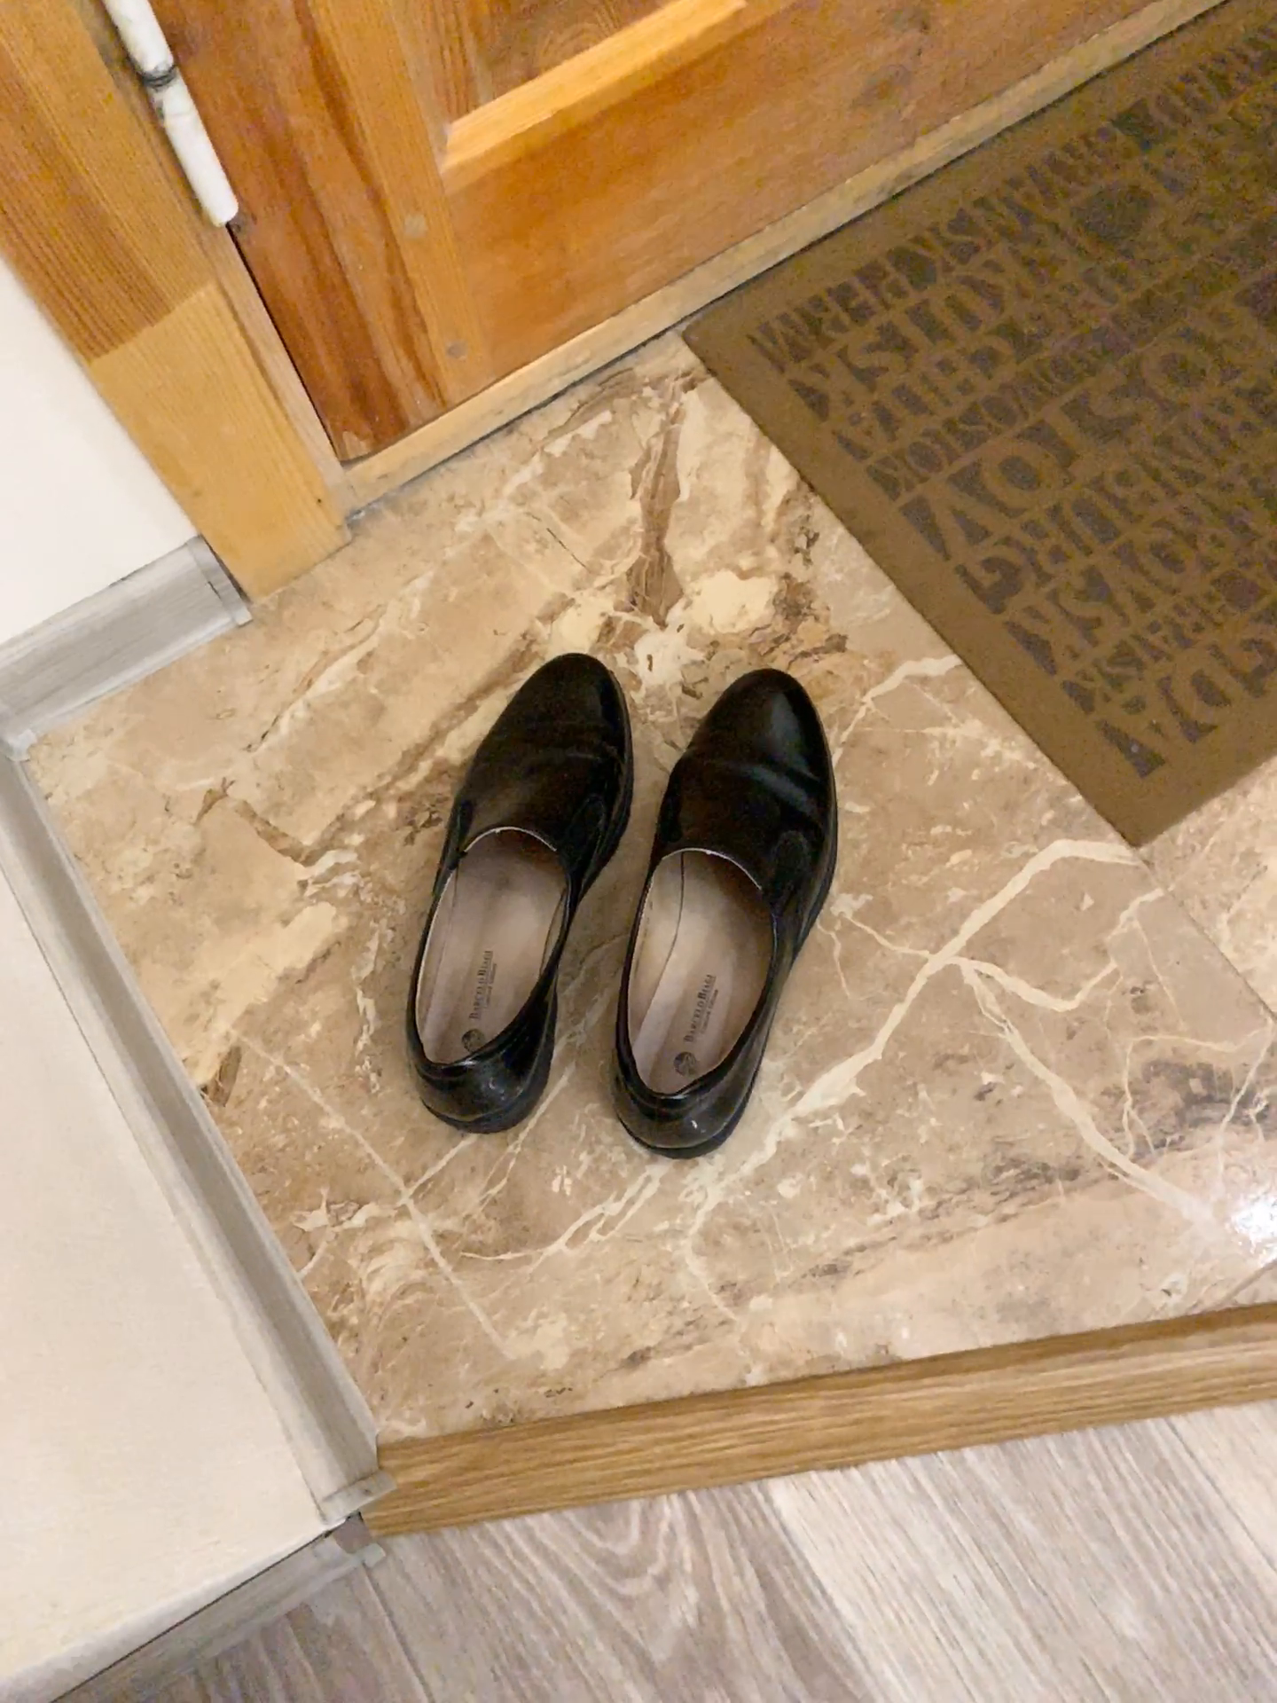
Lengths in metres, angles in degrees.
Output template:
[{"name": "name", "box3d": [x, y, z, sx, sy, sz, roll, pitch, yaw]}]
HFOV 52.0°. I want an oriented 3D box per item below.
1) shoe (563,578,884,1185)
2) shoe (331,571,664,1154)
[{"name": "shoe", "box3d": [0.046, 0.014, 0.626, 0.090, 0.100, 0.260, 11, 71, 9]}, {"name": "shoe", "box3d": [-0.059, 0.005, 0.650, 0.090, 0.100, 0.260, 9, 71, 8]}]
